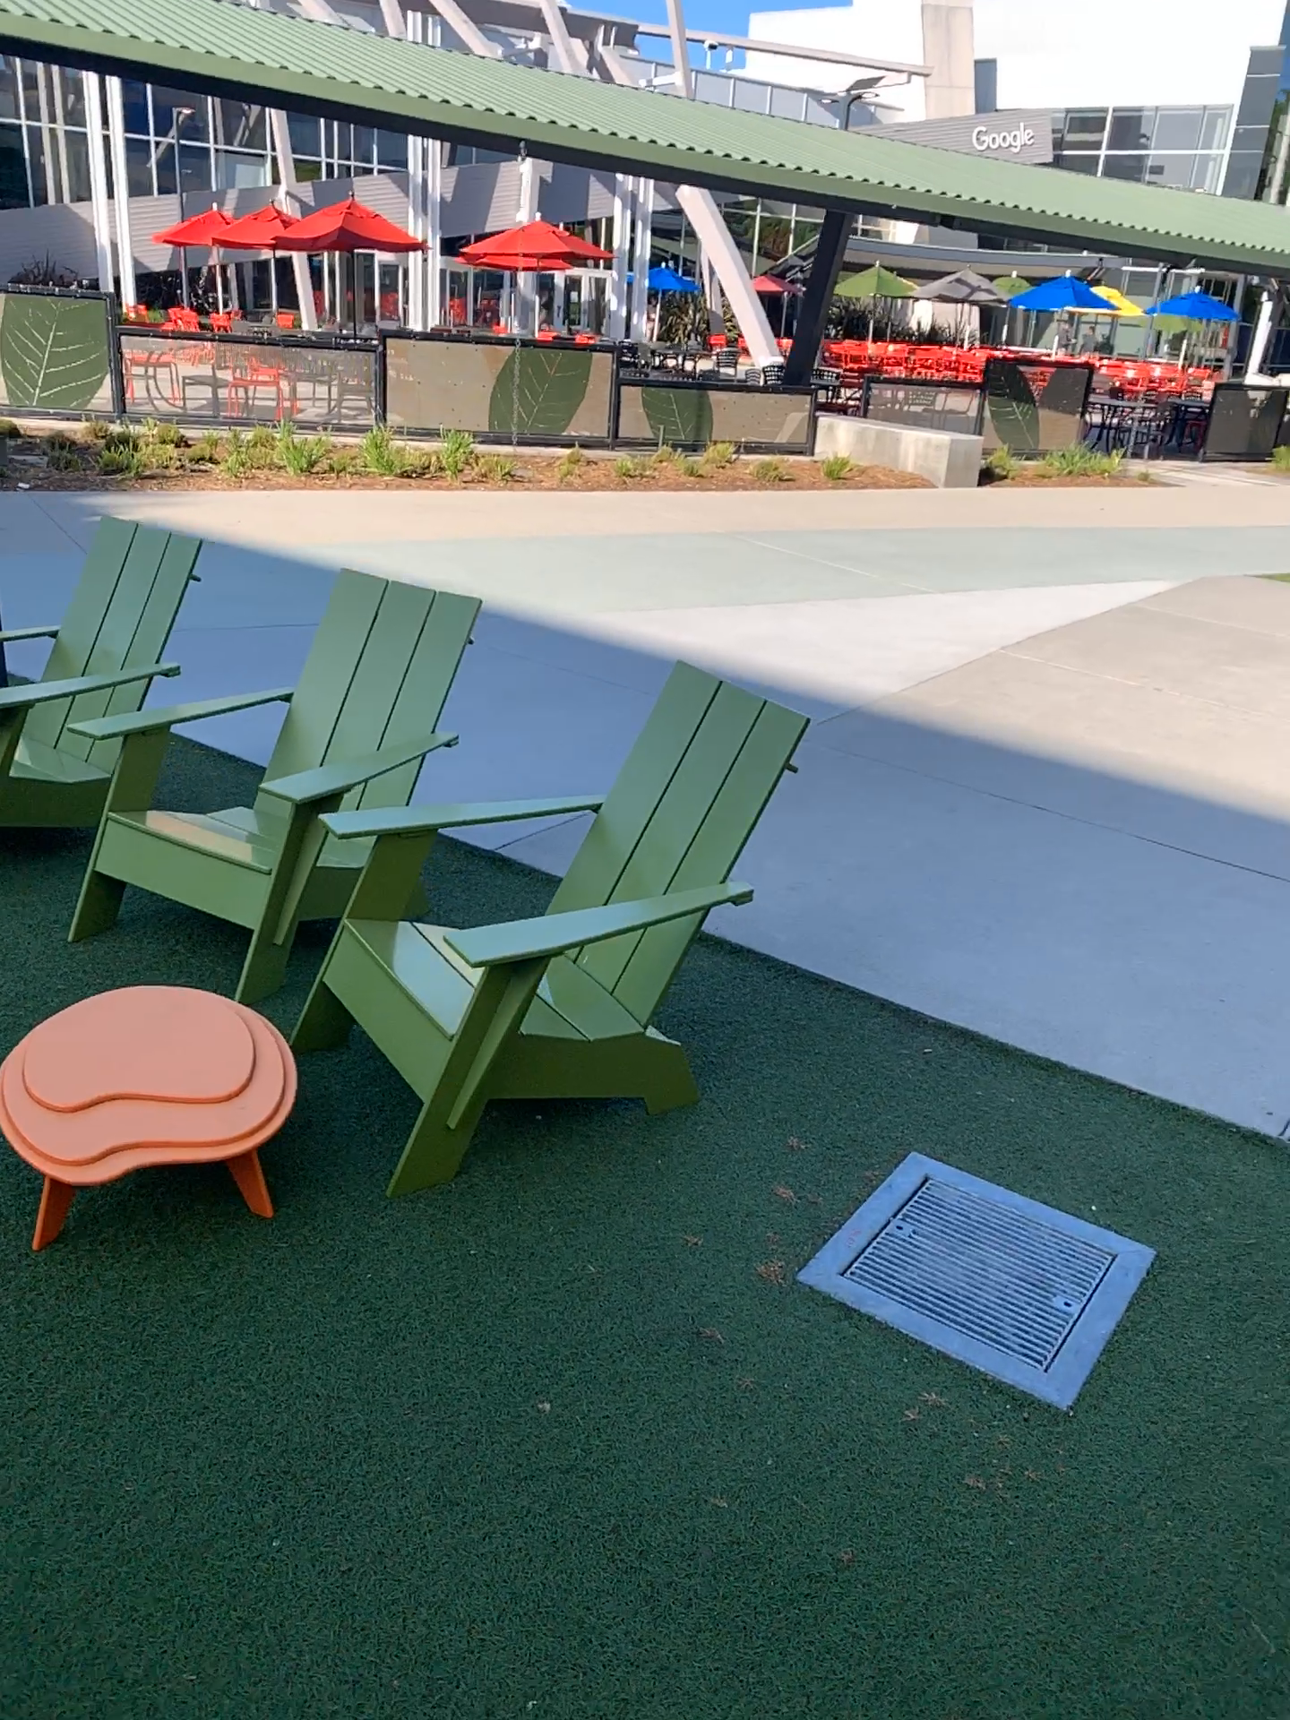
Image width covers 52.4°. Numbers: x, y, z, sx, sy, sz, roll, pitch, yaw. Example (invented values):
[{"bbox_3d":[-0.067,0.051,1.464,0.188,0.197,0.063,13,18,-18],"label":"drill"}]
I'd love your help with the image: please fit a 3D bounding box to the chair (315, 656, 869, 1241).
[{"bbox_3d":[-0.151,0.111,2.708,0.850,0.856,0.714,-8,26,-27],"label":"chair"}]
